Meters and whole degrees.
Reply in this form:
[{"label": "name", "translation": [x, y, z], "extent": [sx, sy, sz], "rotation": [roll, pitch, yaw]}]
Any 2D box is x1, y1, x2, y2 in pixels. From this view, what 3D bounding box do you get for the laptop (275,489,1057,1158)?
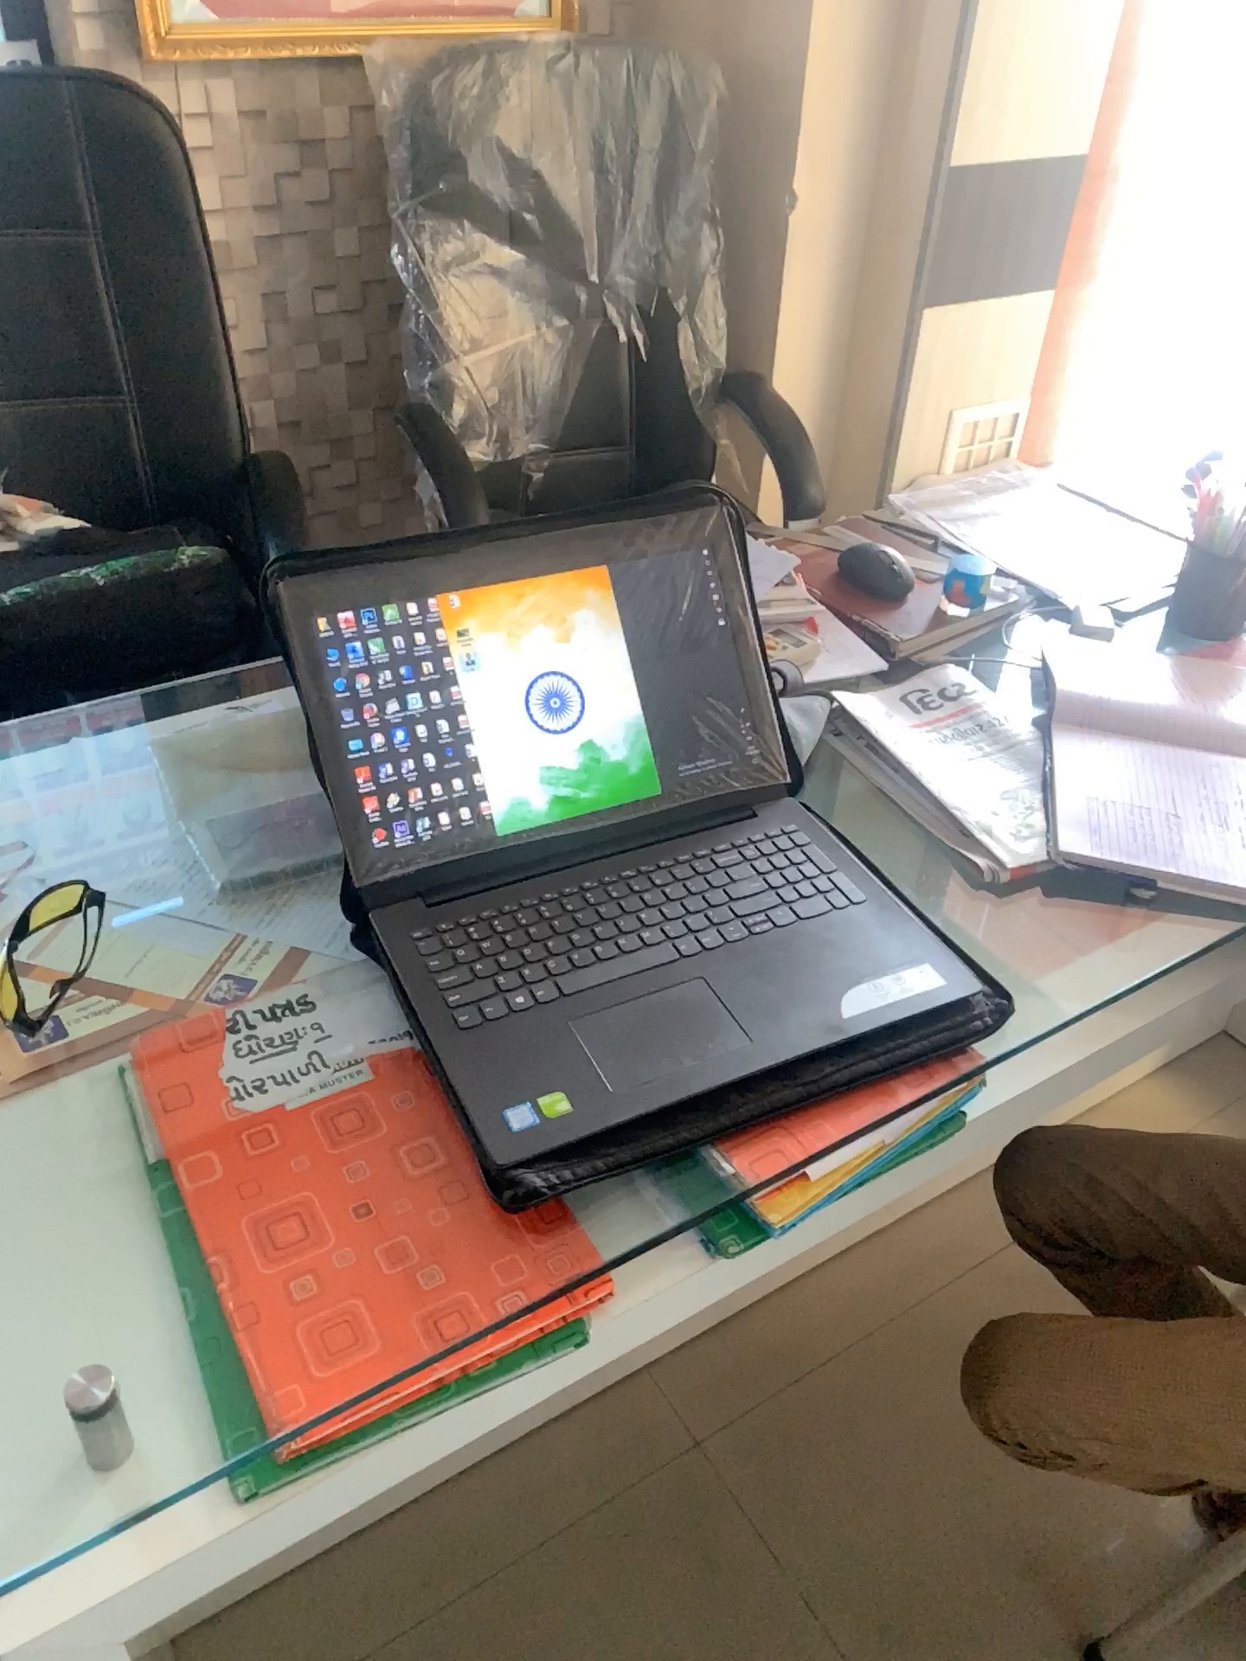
[{"label": "laptop", "translation": [-0.002, -0.043, 0.830], "extent": [0.334, 0.175, 0.392], "rotation": [-14, 41, -21]}]
